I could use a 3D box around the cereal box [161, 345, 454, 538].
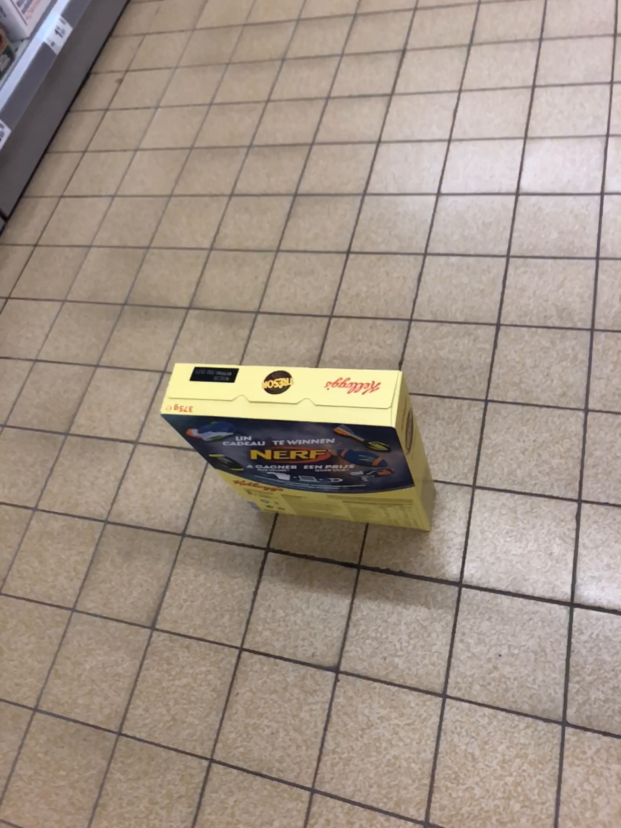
[{"bbox_3d":[0.015,0.033,0.611,0.200,0.239,0.060,3,63,18],"label":"cereal box"}]
